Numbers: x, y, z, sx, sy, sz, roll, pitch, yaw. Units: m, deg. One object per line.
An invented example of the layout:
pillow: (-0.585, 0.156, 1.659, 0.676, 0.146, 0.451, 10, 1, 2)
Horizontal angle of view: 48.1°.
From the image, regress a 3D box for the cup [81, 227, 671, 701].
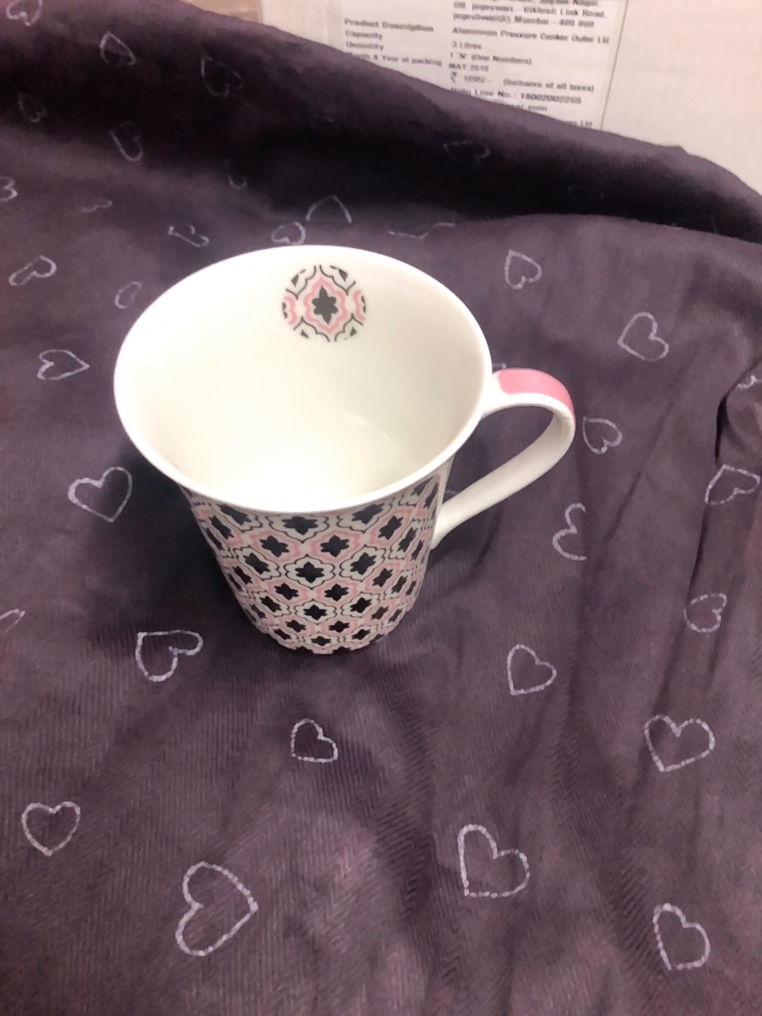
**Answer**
cup: (-0.006, -0.013, 0.231, 0.120, 0.080, 0.091, -4, 52, -6)
